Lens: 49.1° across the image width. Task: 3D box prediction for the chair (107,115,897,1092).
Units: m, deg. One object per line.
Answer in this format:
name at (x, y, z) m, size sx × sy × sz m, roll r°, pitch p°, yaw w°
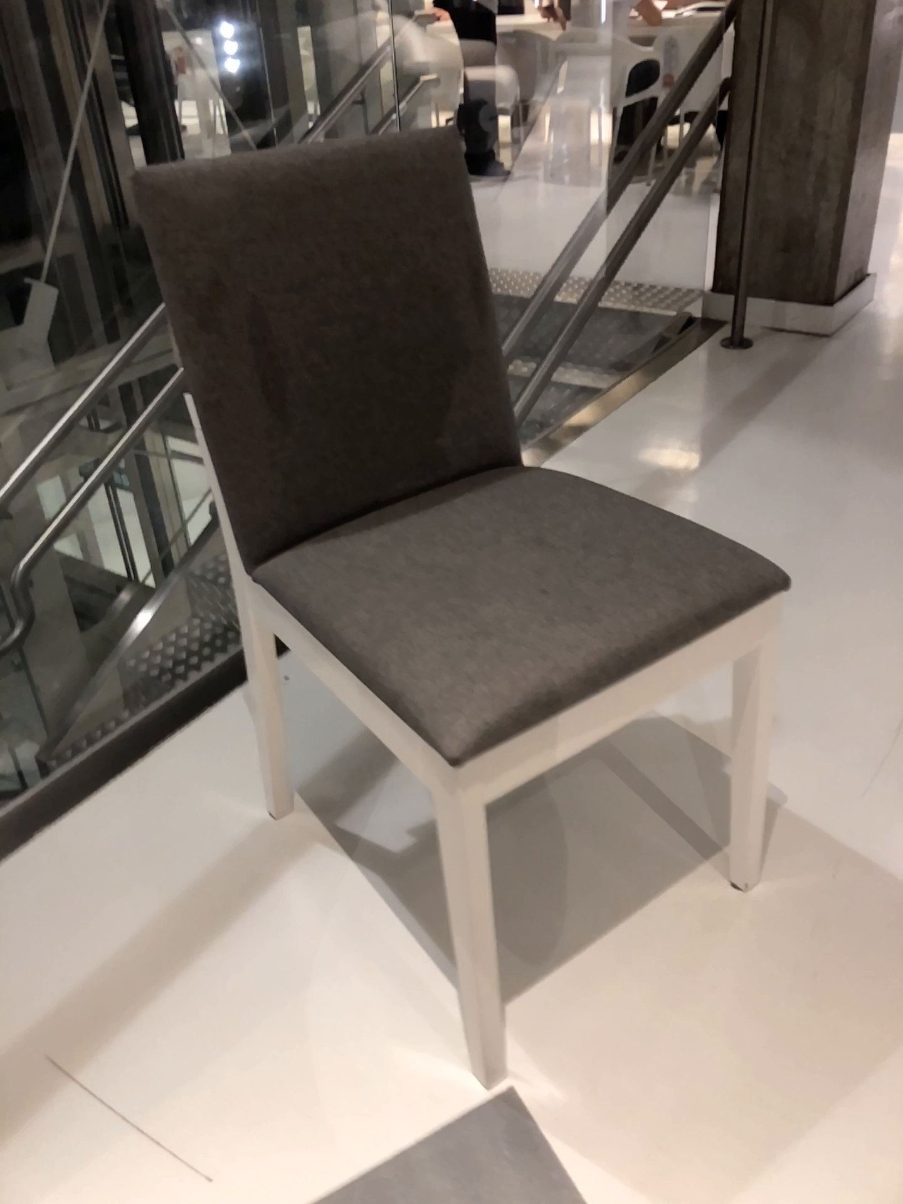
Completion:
chair at (0.037, -0.045, 1.126) m, size 0.481 × 0.843 × 0.563 m, roll -23°, pitch 36°, yaw -29°
